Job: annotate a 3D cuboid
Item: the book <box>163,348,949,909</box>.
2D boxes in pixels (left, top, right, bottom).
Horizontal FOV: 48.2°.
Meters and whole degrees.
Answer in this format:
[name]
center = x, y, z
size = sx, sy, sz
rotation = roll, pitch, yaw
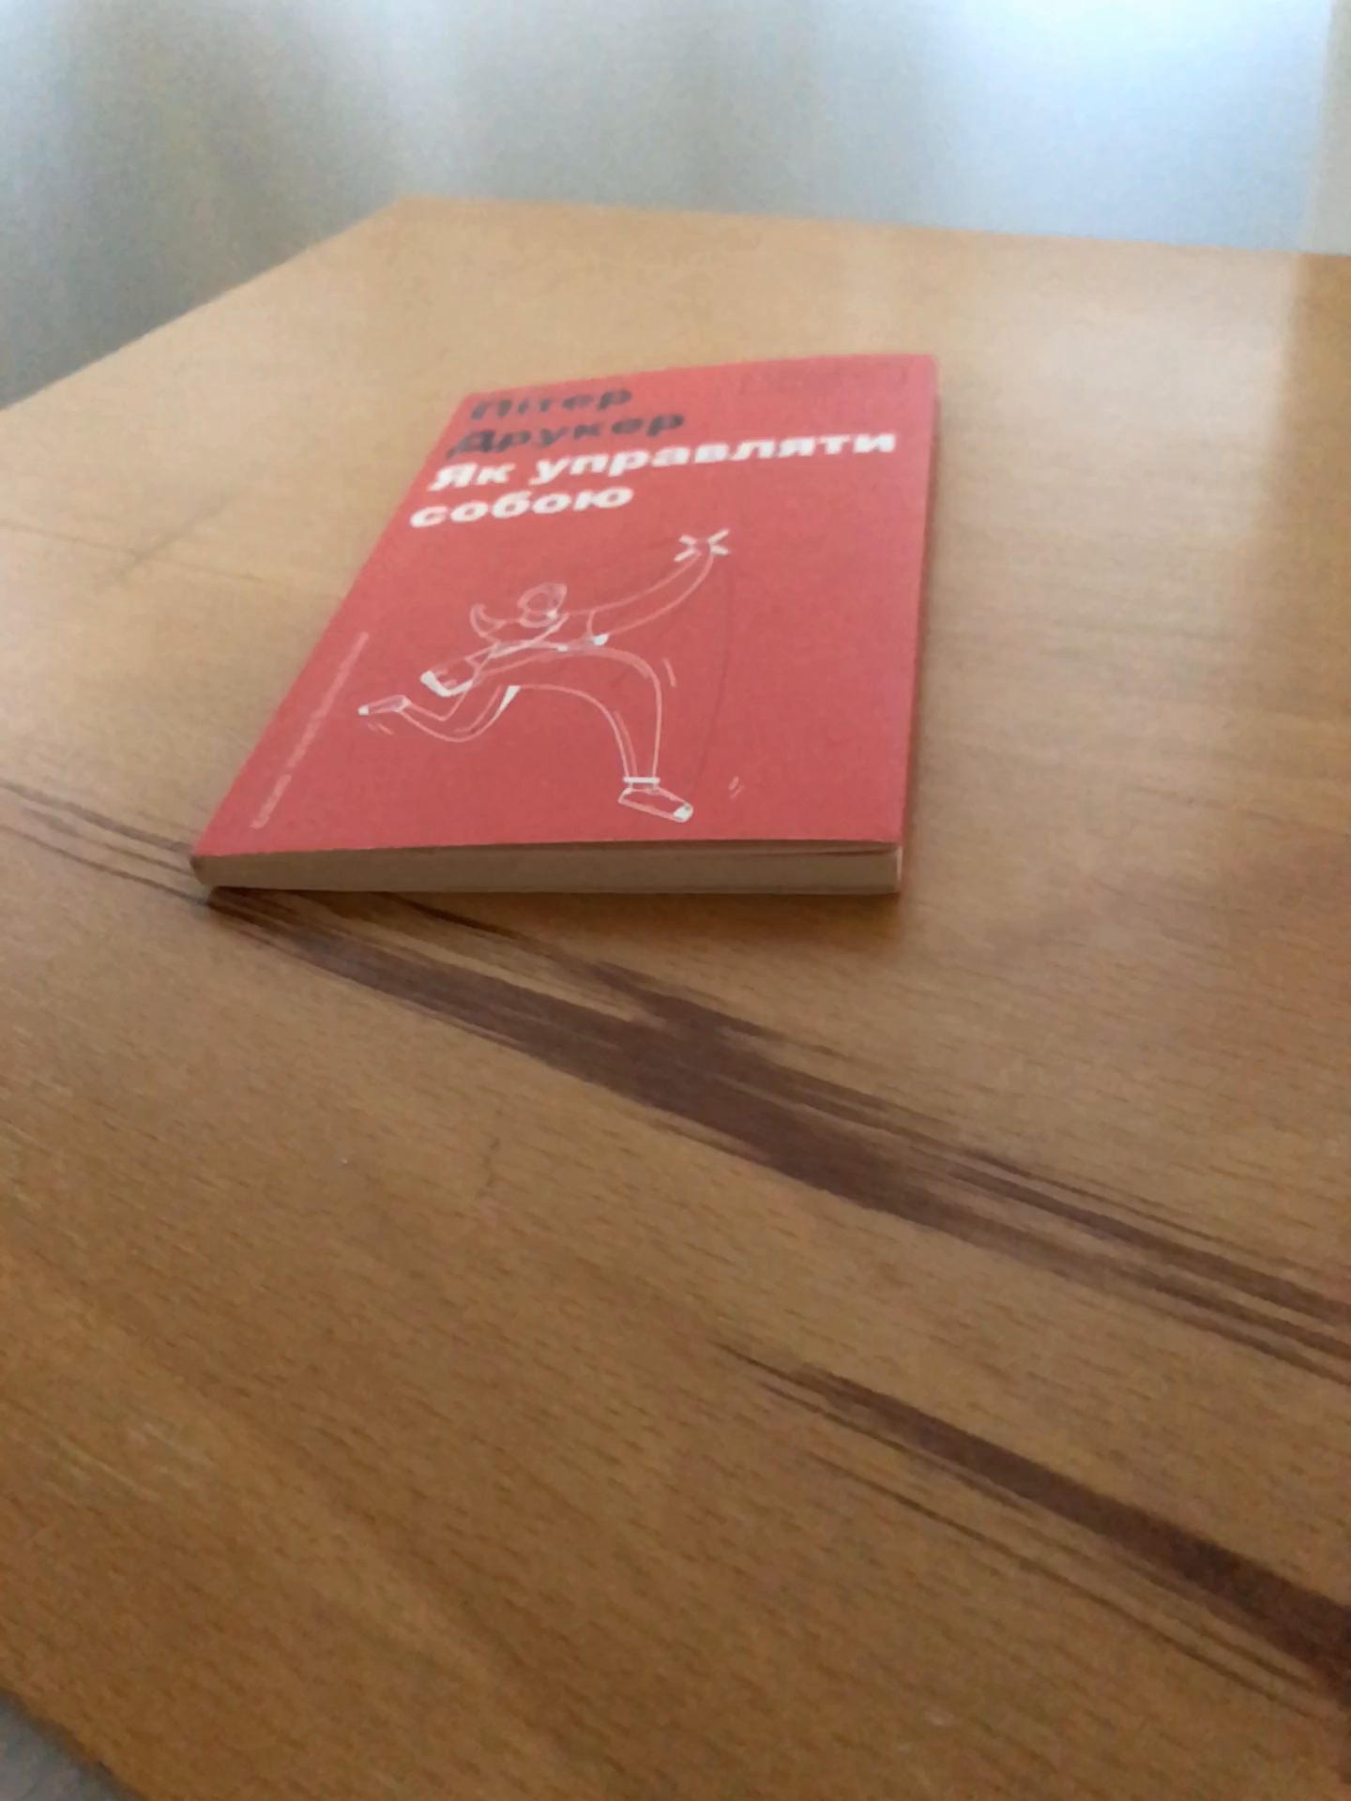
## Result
[book]
center = -0.009, -0.058, 0.280
size = 0.111, 0.013, 0.165
rotation = -1, 41, 13
